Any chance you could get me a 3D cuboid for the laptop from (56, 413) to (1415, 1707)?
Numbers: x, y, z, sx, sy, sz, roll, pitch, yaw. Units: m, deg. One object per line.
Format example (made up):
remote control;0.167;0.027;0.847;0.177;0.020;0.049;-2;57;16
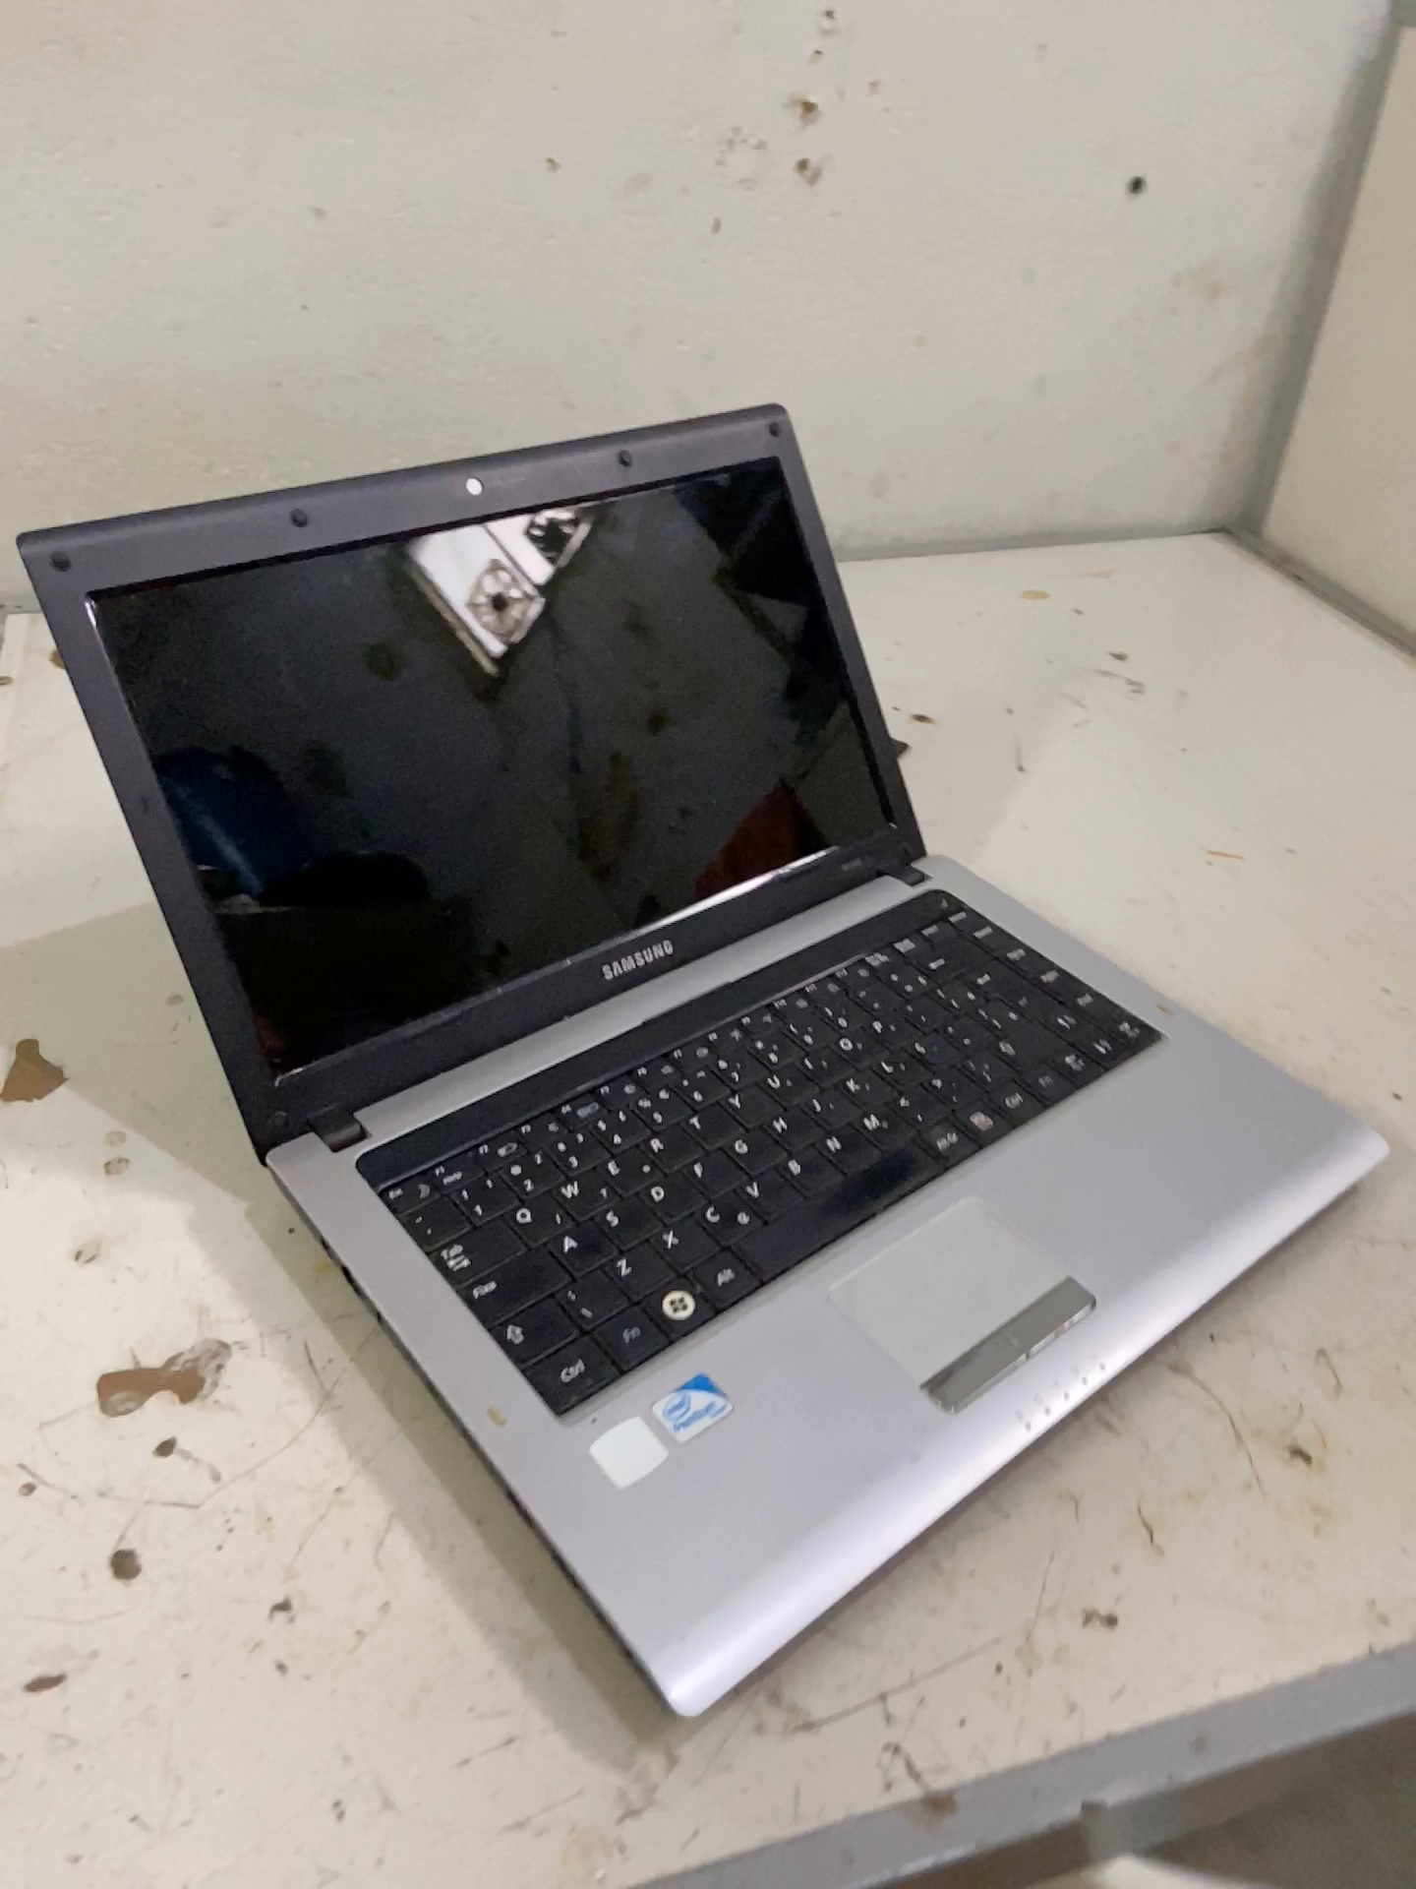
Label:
laptop;0.022;-0.028;0.506;0.335;0.172;0.363;-23;43;-33
